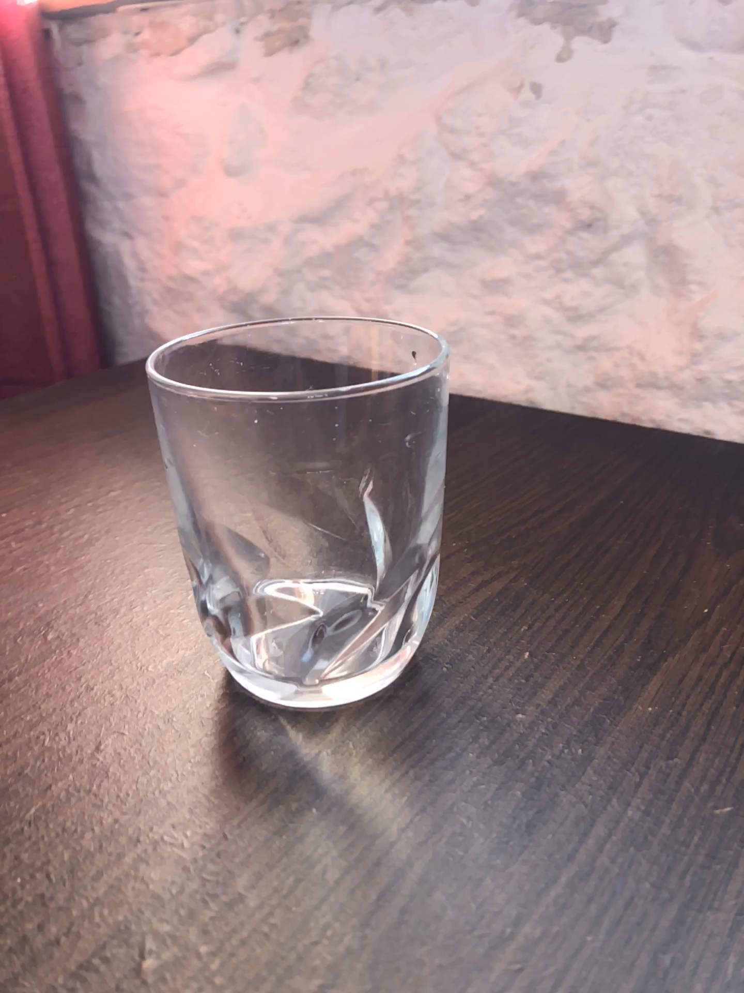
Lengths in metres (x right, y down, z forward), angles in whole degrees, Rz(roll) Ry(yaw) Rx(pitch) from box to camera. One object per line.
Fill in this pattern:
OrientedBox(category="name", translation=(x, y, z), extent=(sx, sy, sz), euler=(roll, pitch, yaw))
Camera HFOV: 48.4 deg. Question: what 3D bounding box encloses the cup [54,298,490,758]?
OrientedBox(category="cup", translation=(-0.023, 0.000, 0.223), extent=(0.078, 0.085, 0.075), euler=(-1, 24, 1))
